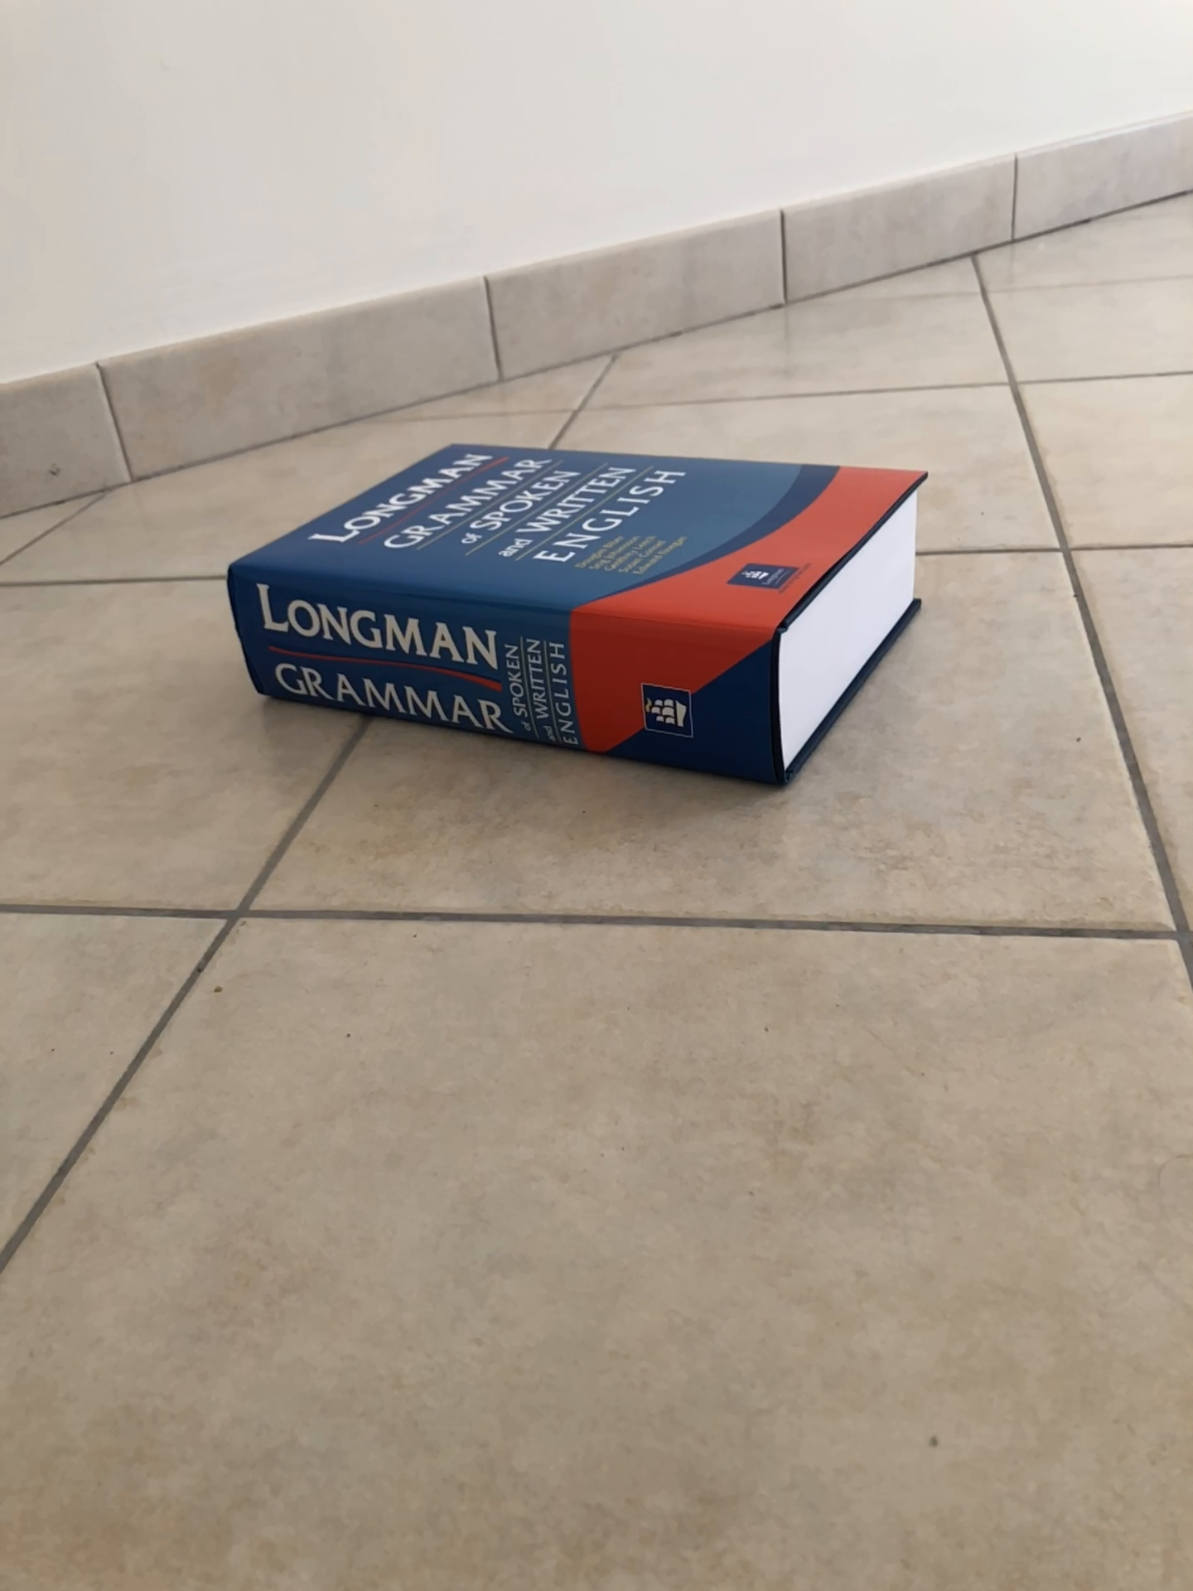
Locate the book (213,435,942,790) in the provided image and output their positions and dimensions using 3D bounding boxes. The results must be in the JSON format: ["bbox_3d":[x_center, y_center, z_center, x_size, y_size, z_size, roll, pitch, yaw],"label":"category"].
[{"bbox_3d":[-0.002,-0.093,0.561,0.250,0.060,0.178,11,35,27],"label":"book"}]
